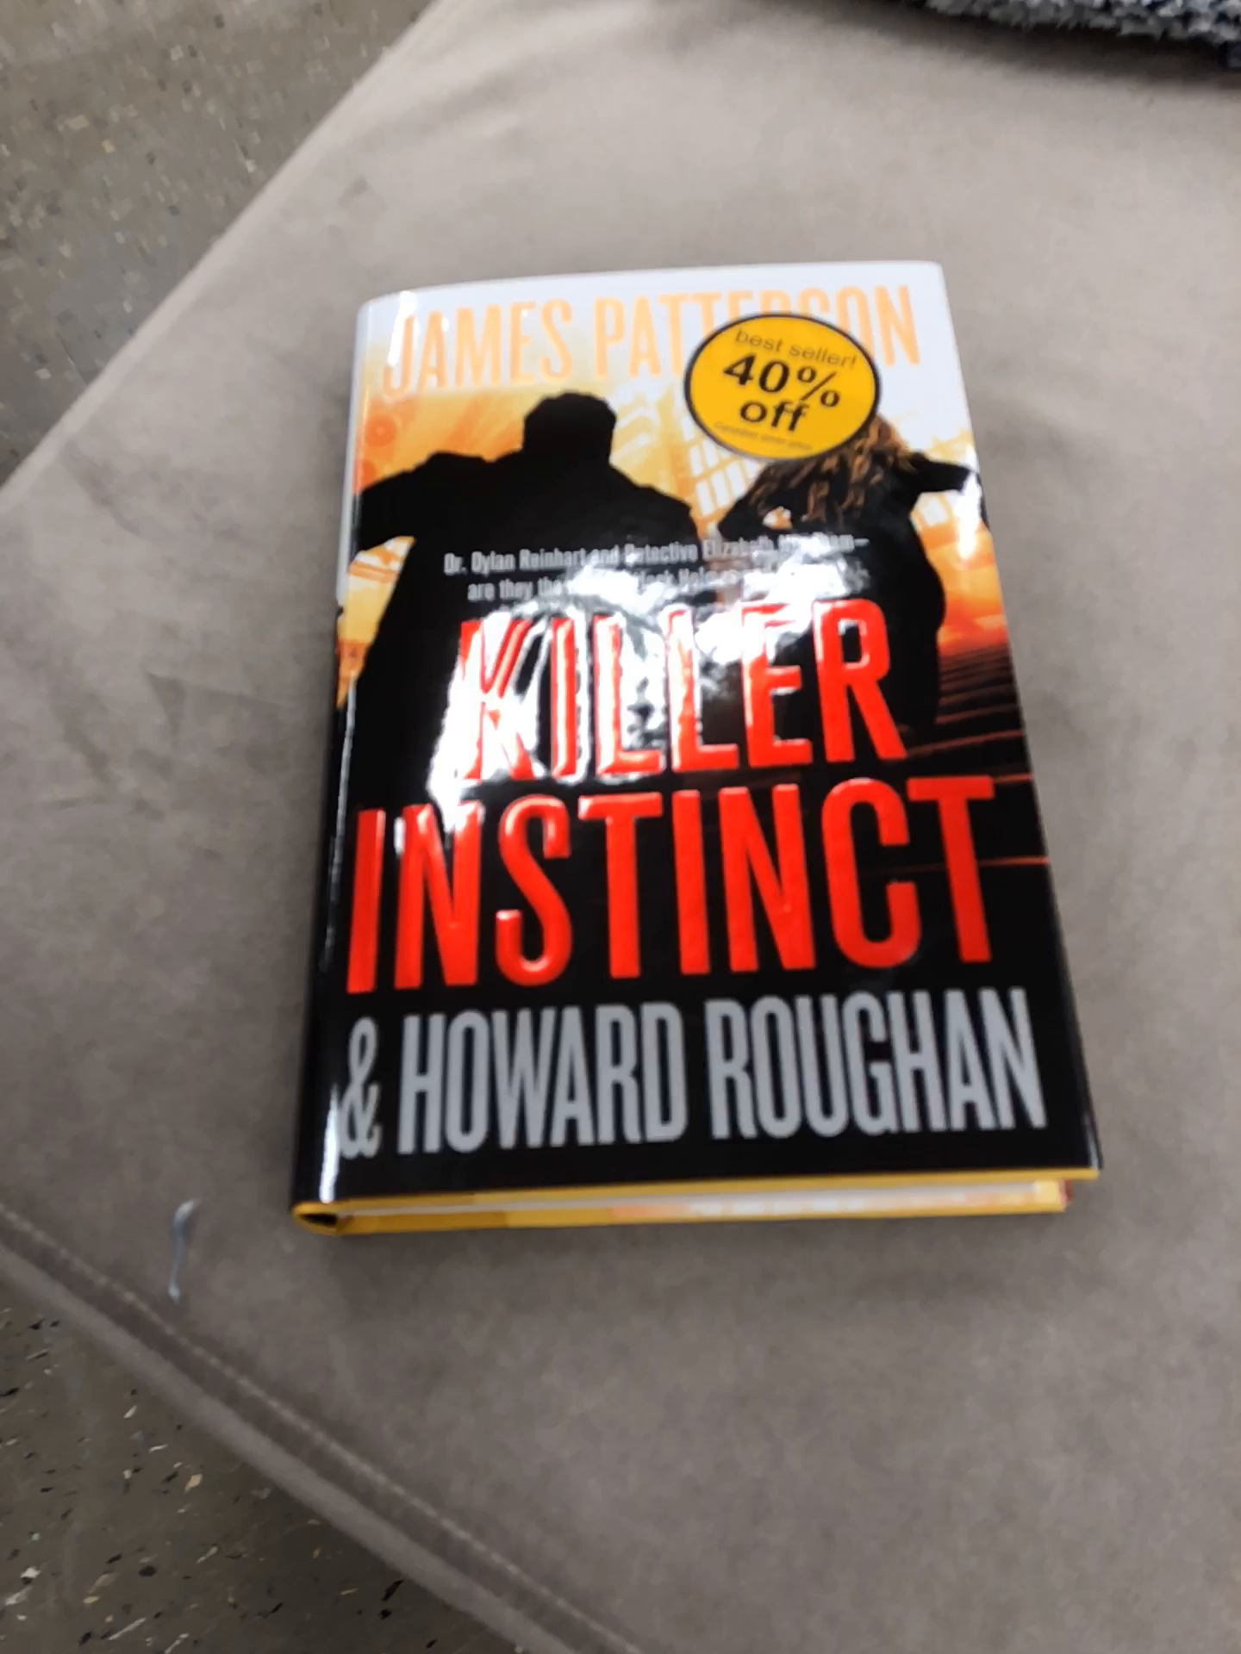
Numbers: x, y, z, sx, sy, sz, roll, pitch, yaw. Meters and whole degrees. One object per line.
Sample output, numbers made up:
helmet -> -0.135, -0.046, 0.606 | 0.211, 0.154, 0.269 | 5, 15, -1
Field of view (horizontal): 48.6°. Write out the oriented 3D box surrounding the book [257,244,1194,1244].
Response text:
book -> 0.017, -0.030, 0.321 | 0.172, 0.038, 0.238 | -2, 64, 2
